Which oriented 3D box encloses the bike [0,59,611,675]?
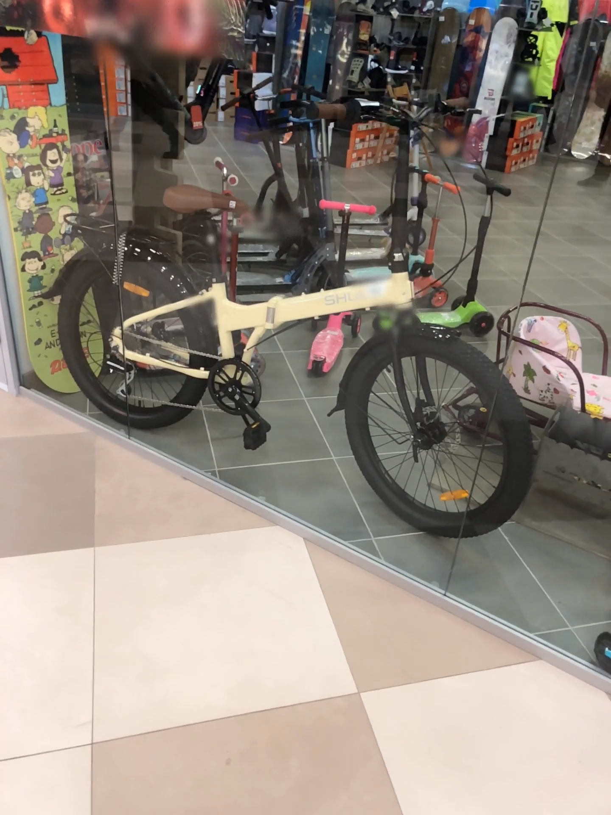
[{"bbox_3d":[-0.149,-0.260,1.959,1.704,1.174,0.595,19,32,22],"label":"bike"}]
